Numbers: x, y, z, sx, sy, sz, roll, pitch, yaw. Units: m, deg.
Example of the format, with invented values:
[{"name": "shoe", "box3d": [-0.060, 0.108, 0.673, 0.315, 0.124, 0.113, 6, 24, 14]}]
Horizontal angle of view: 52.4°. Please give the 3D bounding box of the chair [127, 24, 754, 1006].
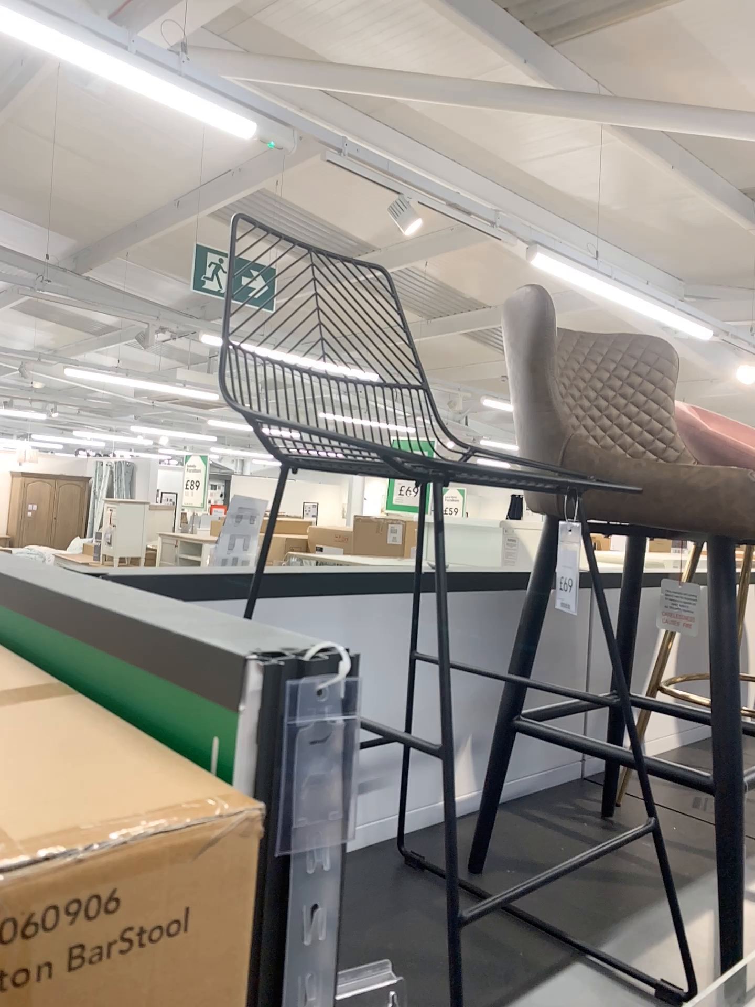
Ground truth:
[{"name": "chair", "box3d": [0.079, 0.093, 0.976, 0.504, 0.964, 0.529, 6, -3, -43]}]
